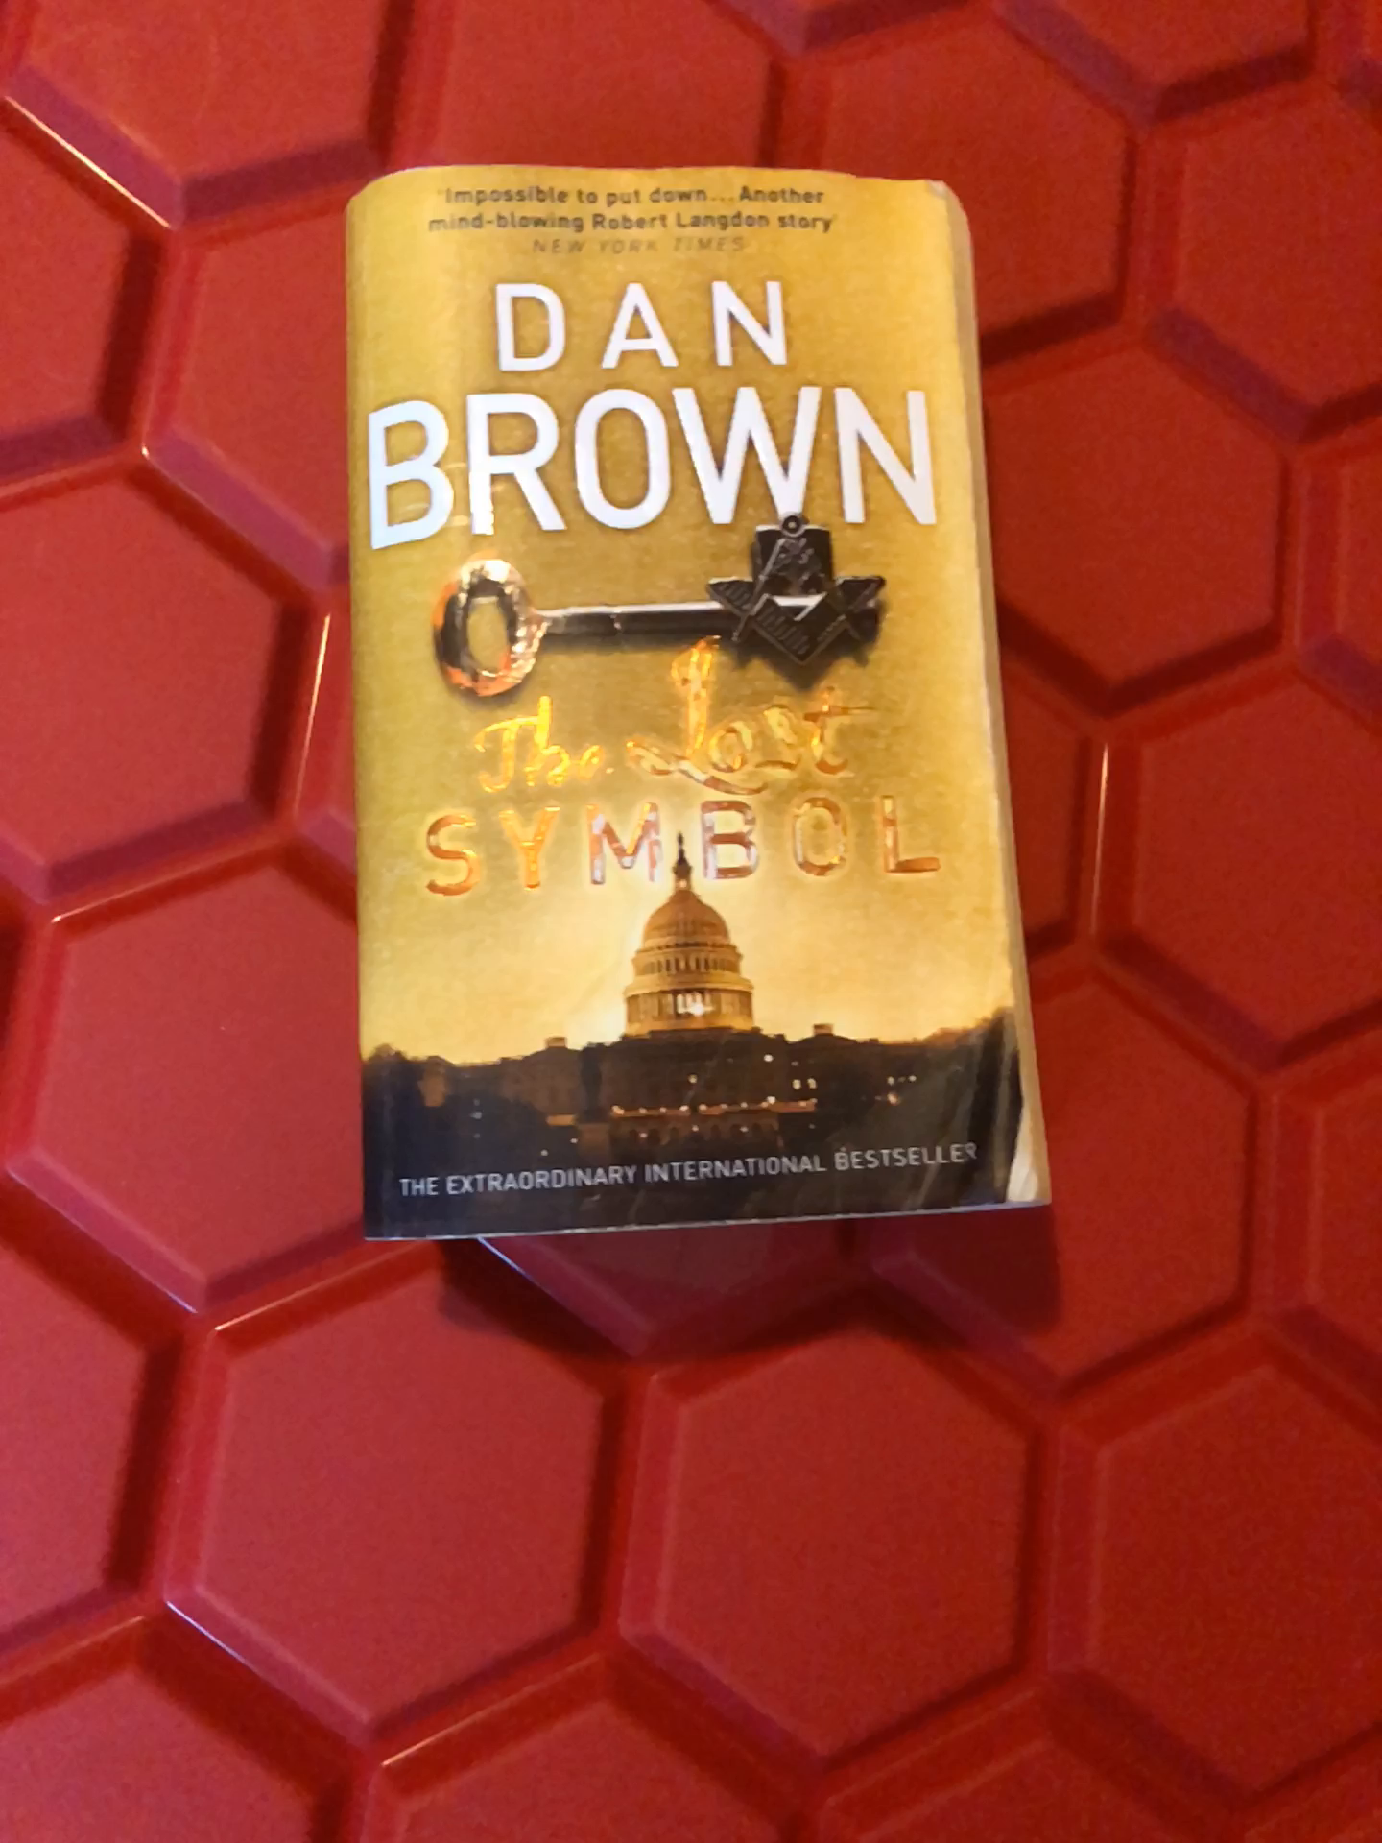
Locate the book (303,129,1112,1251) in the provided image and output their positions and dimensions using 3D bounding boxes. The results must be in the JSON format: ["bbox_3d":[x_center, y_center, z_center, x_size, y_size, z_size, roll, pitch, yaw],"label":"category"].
[{"bbox_3d":[-0.002,-0.039,0.274,0.122,0.051,0.183,-2,81,-6],"label":"book"}]
